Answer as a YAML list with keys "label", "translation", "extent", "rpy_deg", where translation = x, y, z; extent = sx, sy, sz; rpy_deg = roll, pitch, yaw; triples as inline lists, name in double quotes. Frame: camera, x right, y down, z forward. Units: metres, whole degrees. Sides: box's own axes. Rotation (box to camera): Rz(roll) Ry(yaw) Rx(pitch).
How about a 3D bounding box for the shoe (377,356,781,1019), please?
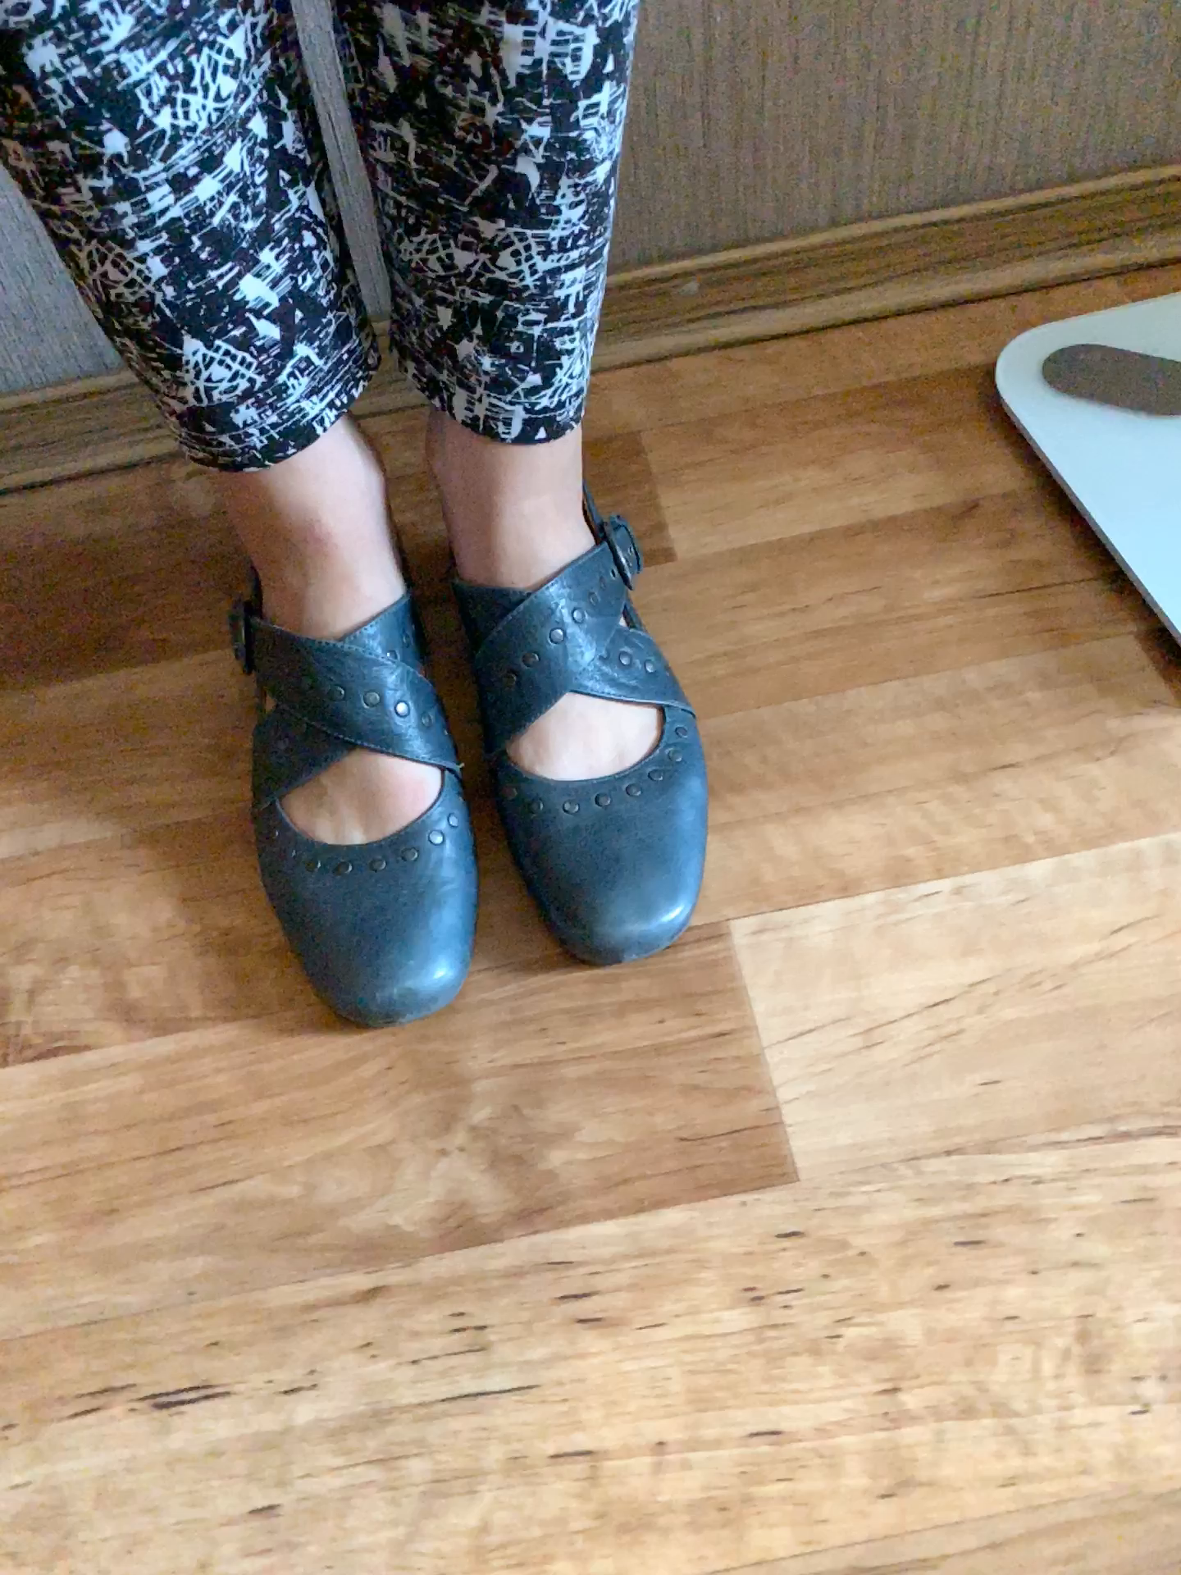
- label: "shoe"
  translation: [-0.011, -0.052, 0.481]
  extent: [0.090, 0.100, 0.251]
  rpy_deg: [-15, 51, -4]

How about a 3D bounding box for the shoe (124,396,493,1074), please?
- label: "shoe"
  translation: [-0.103, -0.031, 0.462]
  extent: [0.090, 0.100, 0.241]
  rpy_deg: [-11, 51, -1]
